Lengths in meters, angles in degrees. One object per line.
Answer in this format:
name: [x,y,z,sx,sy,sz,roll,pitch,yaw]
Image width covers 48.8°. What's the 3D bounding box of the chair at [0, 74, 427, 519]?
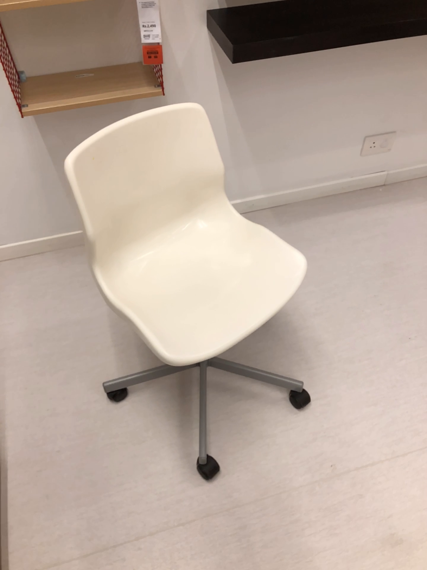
chair: [-0.005,0.016,1.178,0.621,0.686,0.622,-33,56,-25]
